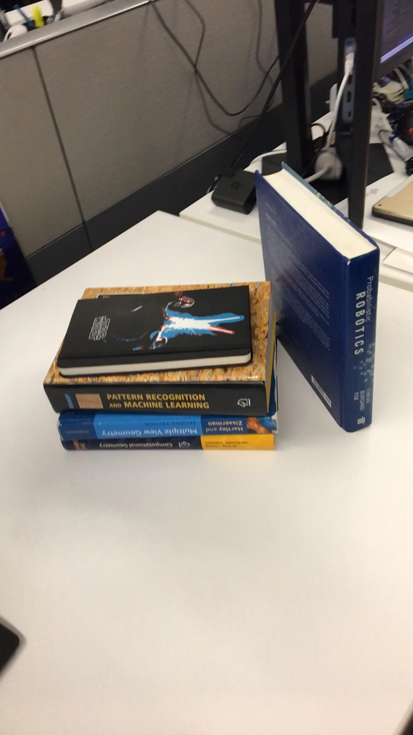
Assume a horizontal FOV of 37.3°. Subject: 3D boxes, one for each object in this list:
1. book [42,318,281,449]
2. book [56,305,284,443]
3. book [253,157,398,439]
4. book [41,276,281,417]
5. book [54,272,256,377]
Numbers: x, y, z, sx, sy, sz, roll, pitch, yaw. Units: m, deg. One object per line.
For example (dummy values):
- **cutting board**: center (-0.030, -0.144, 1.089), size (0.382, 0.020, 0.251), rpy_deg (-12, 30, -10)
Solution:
- **book**: center (-0.043, 0.014, 0.736), size (0.260, 0.030, 0.190), rpy_deg (-1, 42, 9)
- **book**: center (-0.034, 0.002, 0.718), size (0.240, 0.030, 0.190), rpy_deg (-3, 42, 7)
- **book**: center (0.121, -0.077, 0.675), size (0.050, 0.230, 0.210), rpy_deg (-17, 43, -9)
- **book**: center (-0.039, -0.027, 0.691), size (0.240, 0.050, 0.180), rpy_deg (-1, 42, 9)
- **book**: center (-0.050, -0.049, 0.655), size (0.200, 0.020, 0.130), rpy_deg (-4, 42, 5)
